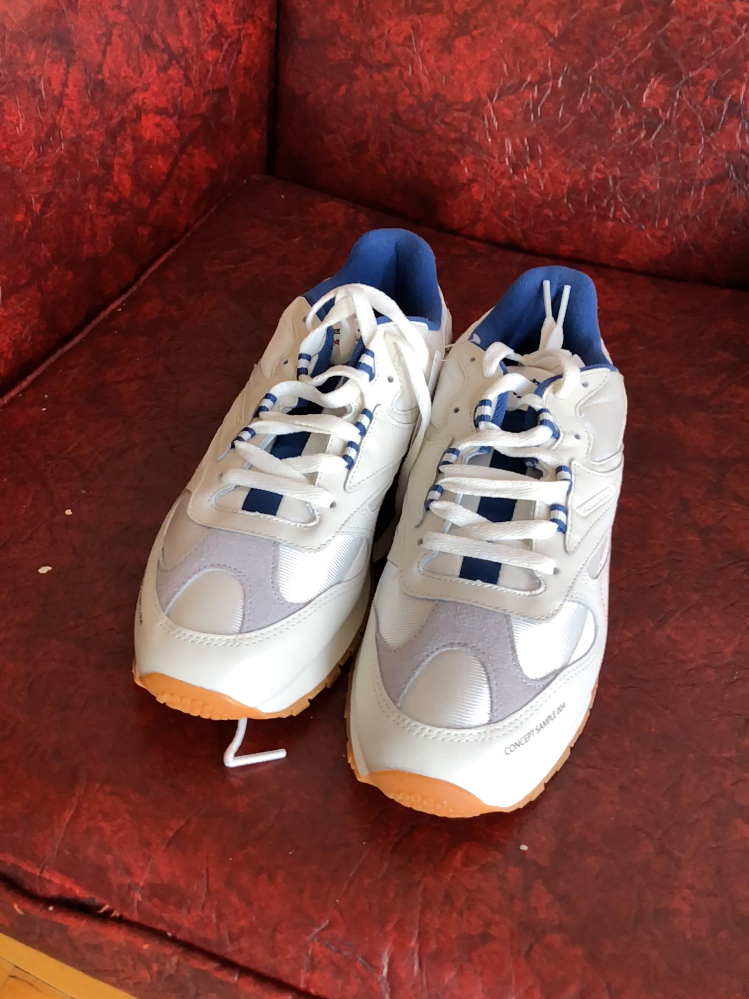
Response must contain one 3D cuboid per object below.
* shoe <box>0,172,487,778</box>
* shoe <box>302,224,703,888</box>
[{"bbox_3d":[-0.035,-0.031,0.390,0.110,0.099,0.272,14,52,9],"label":"shoe"},{"bbox_3d":[0.068,0.004,0.370,0.110,0.099,0.272,14,52,9],"label":"shoe"}]
